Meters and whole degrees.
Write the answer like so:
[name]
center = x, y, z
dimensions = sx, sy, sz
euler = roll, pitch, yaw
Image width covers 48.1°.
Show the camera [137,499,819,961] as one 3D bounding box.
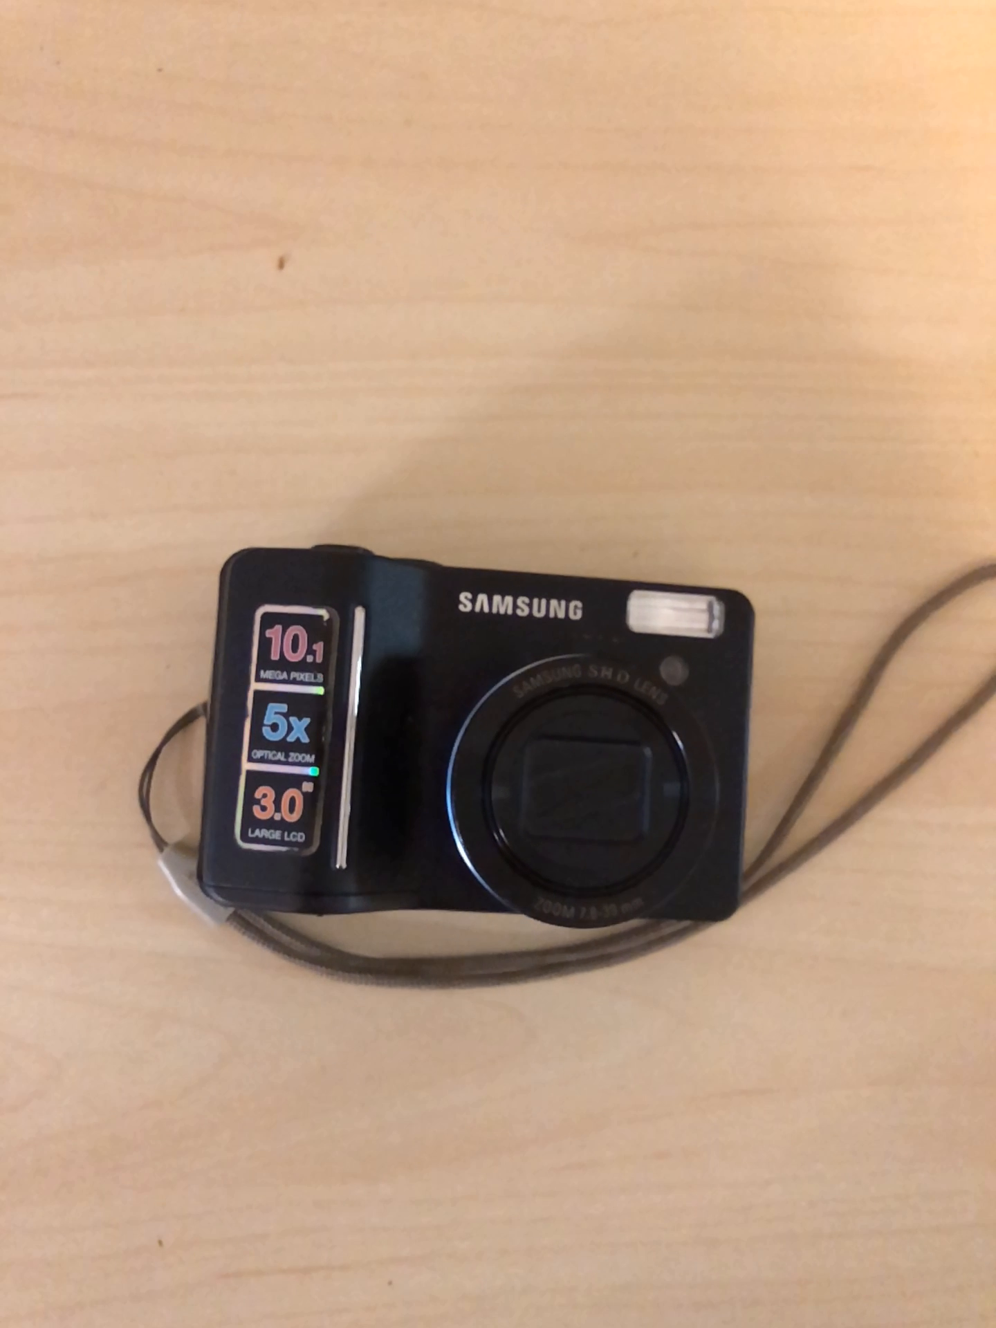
[camera]
center = -0.002, 0.013, 0.202
dimensions = 0.110, 0.030, 0.070
euler = 4, 85, -5
